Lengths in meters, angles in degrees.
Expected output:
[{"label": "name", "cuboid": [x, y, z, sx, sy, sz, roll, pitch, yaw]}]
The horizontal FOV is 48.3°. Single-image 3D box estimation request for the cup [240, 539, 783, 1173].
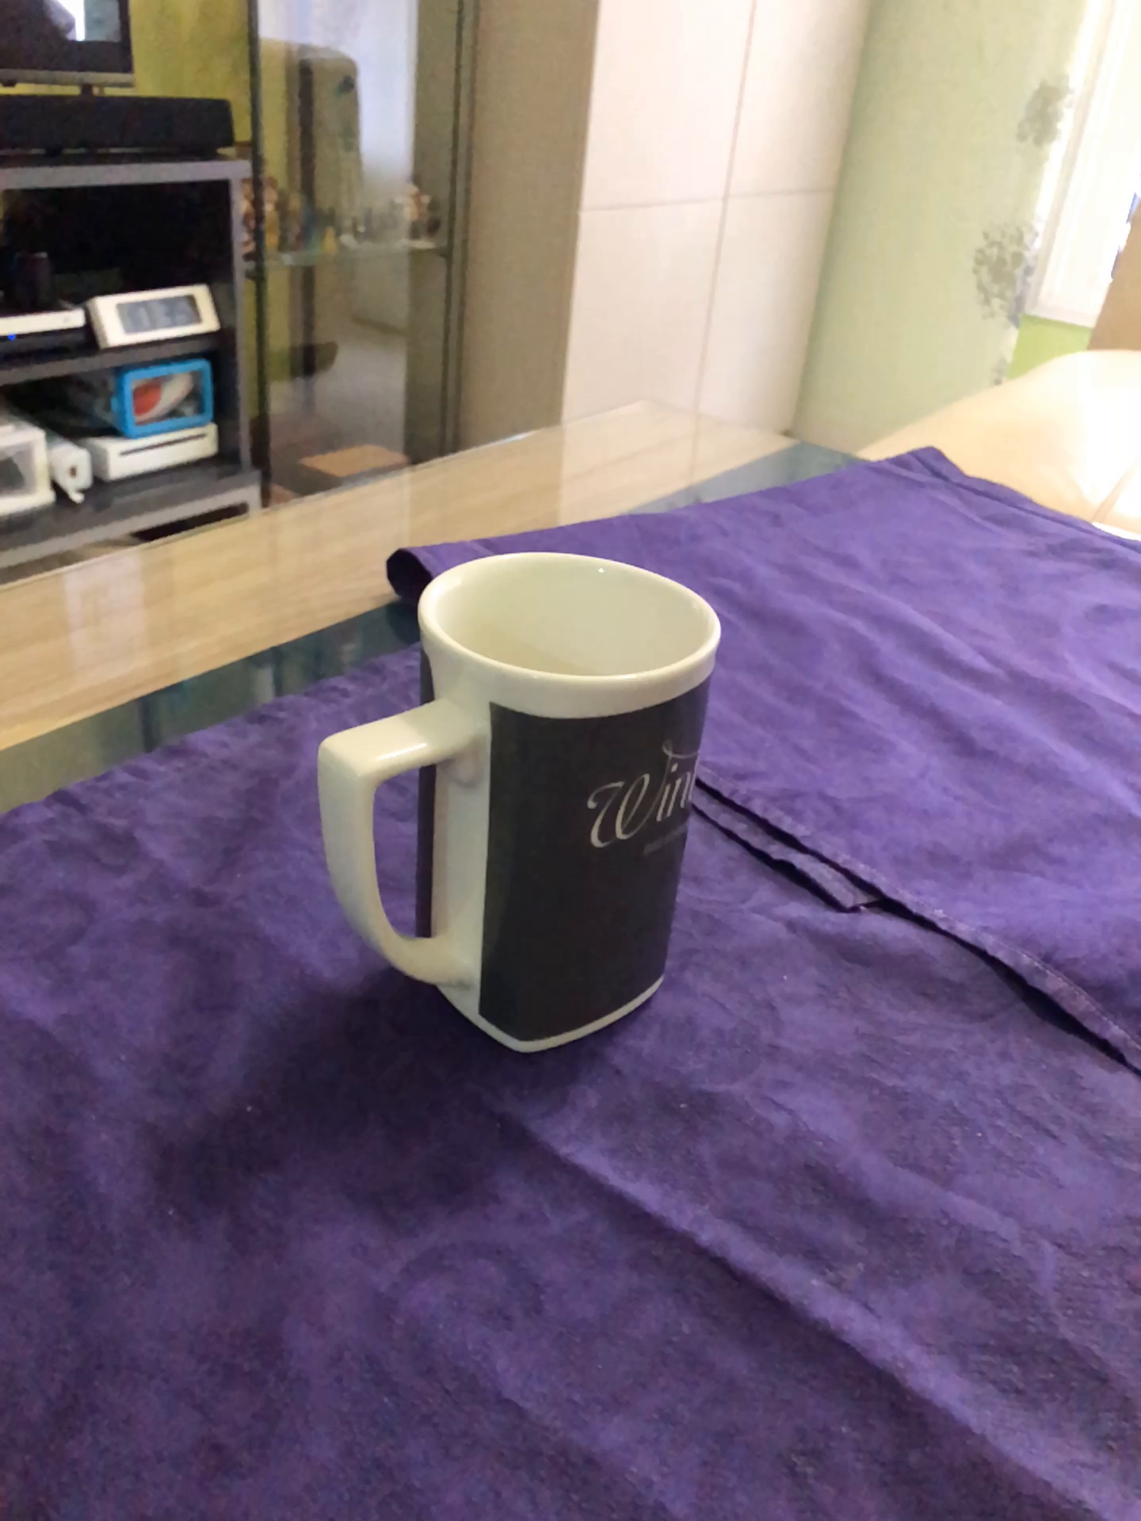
[{"label": "cup", "cuboid": [-0.016, 0.018, 0.313, 0.100, 0.109, 0.070, -20, 39, -36]}]
